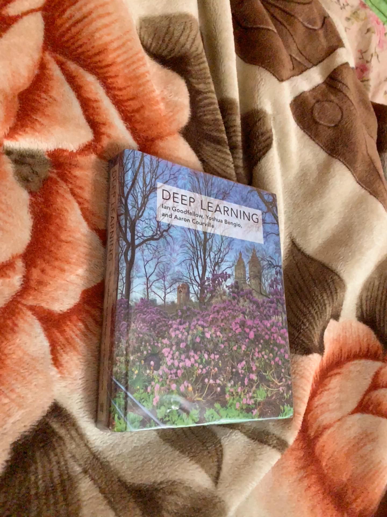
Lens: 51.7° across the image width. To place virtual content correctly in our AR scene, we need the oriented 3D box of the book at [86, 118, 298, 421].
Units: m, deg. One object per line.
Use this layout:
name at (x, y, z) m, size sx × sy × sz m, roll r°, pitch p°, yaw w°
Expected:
book at (0.010, 0.015, 0.400) m, size 0.211 × 0.030 × 0.261 m, roll 11°, pitch 69°, yaw -33°
